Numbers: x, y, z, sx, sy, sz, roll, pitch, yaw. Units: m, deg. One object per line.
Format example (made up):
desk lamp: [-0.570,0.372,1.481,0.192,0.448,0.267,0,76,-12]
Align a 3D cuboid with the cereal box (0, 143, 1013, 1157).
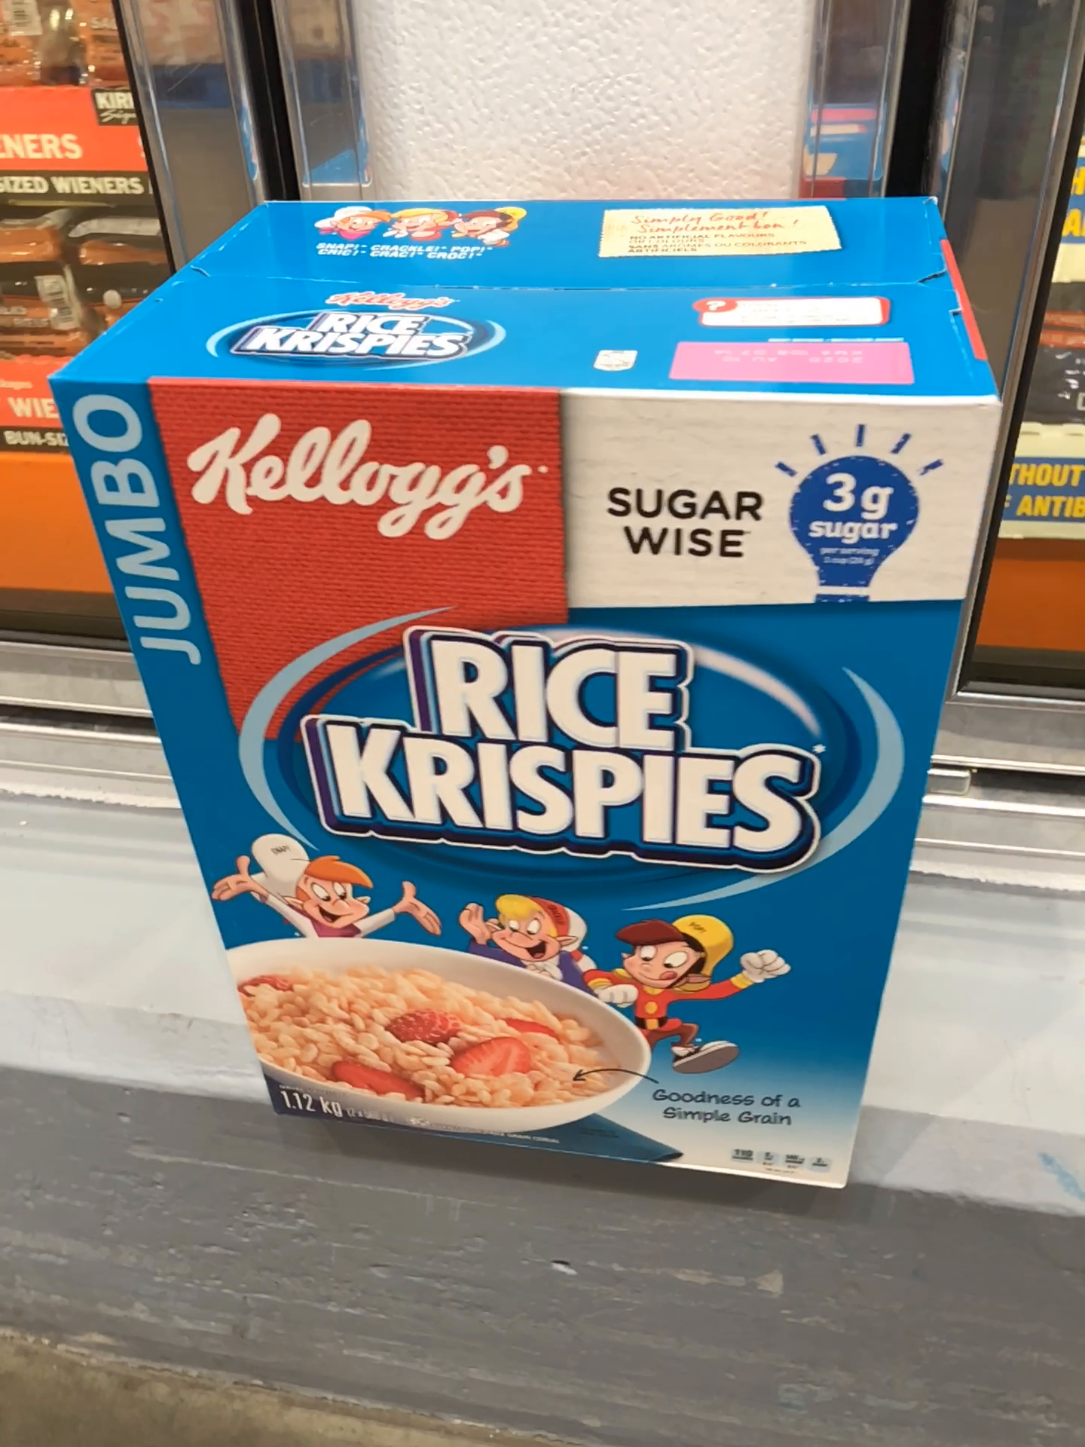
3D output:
cereal box: [0.004,-0.016,0.437,0.240,0.319,0.161,4,40,9]
